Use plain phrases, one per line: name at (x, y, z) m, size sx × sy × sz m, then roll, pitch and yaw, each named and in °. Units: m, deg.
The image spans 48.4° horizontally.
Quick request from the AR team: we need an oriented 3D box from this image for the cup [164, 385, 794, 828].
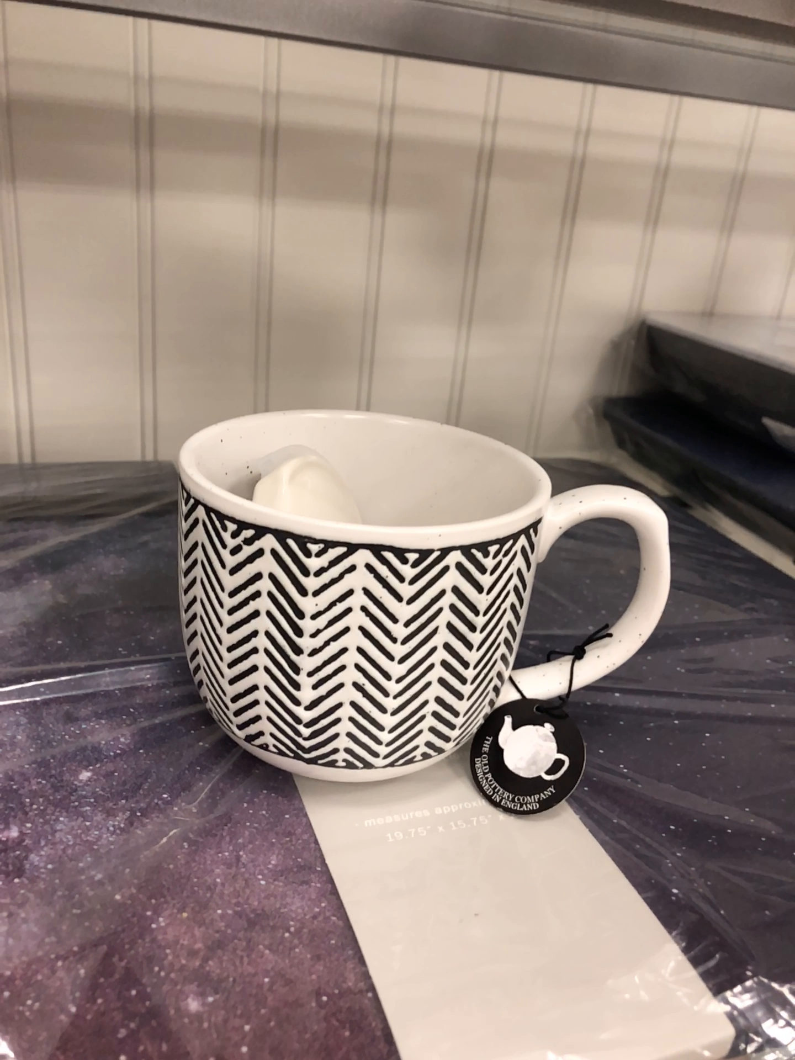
cup at (0.015, 0.016, 0.252) m, size 0.140 × 0.079 × 0.091 m, roll 5°, pitch 24°, yaw -2°
